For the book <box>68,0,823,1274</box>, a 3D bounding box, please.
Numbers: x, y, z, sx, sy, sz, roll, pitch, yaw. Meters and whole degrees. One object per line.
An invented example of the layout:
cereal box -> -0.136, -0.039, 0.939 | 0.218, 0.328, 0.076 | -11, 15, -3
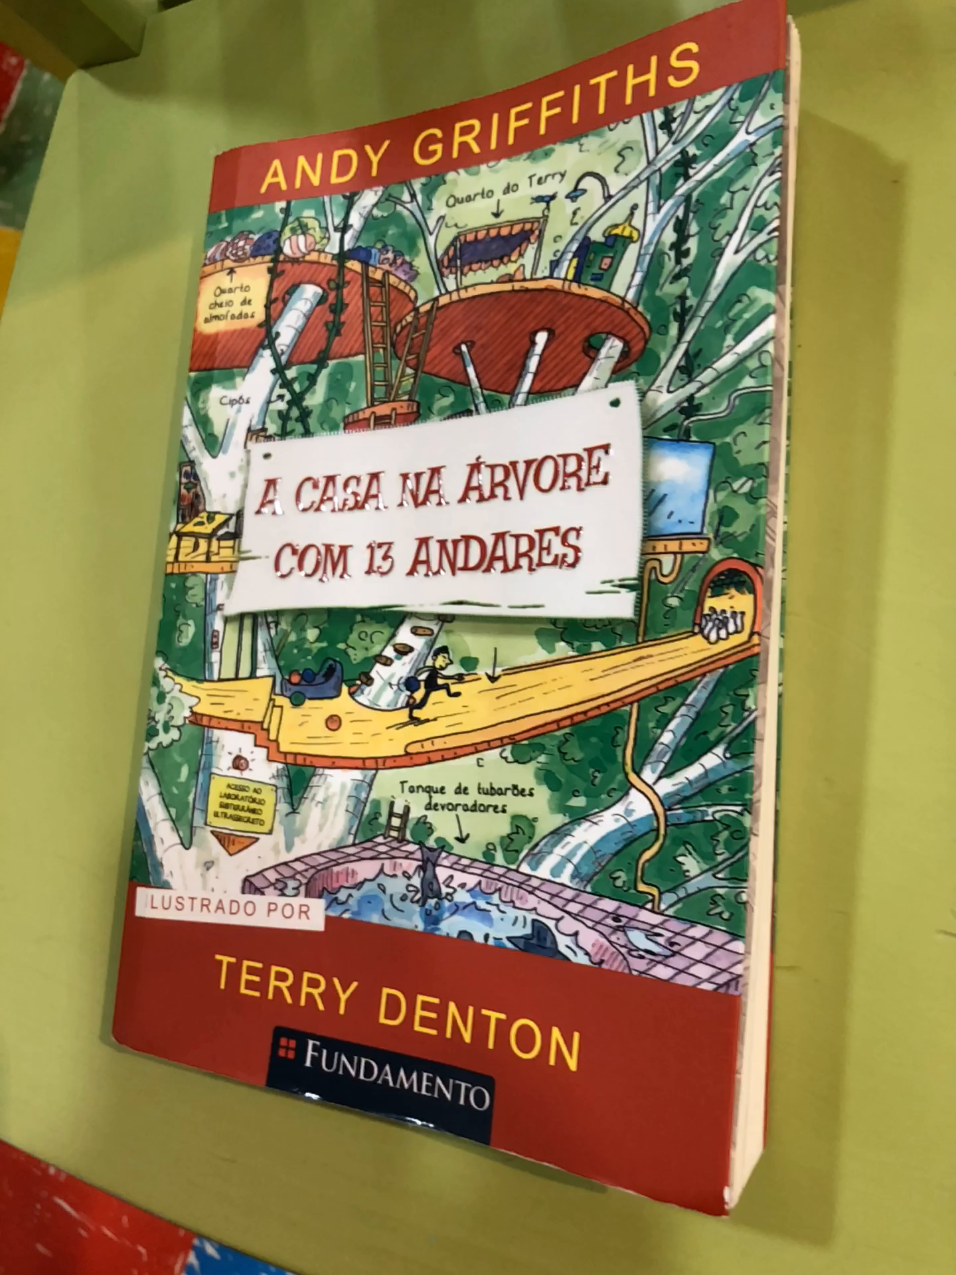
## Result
book -> -0.008, -0.005, 0.221 | 0.137, 0.040, 0.210 | 1, 83, 29
